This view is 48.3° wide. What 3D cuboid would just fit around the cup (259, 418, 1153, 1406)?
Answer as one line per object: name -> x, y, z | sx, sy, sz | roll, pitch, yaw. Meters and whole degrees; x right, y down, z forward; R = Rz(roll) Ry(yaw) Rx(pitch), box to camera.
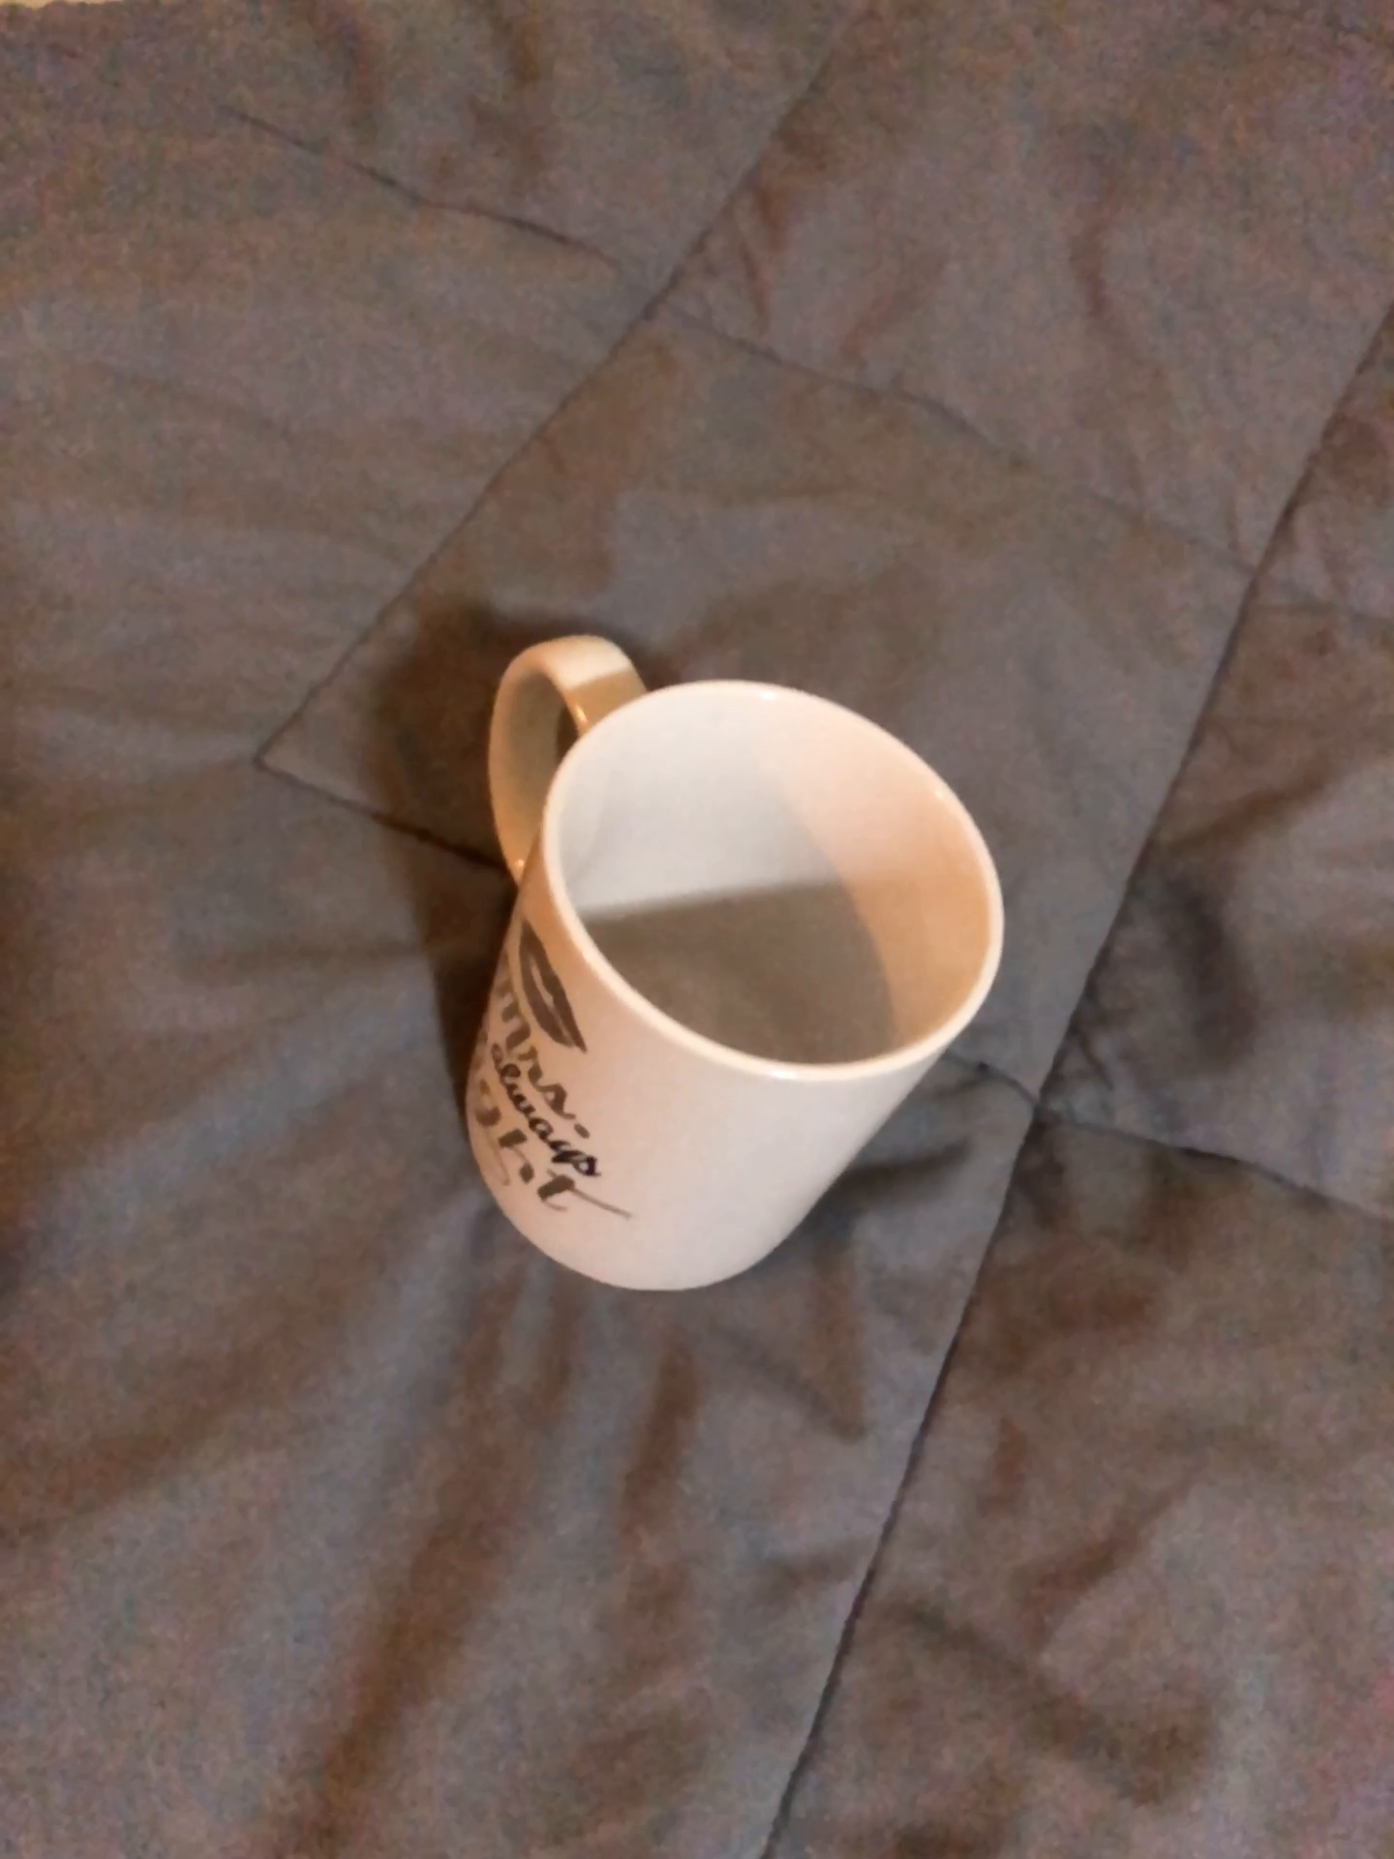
cup -> -0.012, -0.006, 0.330 | 0.110, 0.110, 0.150 | -18, 65, -25
